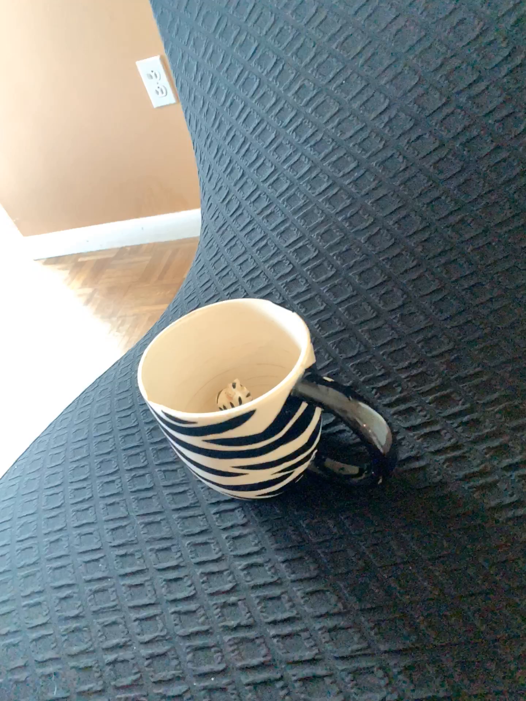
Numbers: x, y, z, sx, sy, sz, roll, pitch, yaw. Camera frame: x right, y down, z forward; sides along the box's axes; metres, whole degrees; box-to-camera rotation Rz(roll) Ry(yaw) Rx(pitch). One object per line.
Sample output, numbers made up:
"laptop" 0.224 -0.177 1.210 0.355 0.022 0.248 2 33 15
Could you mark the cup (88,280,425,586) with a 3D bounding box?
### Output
"cup" -0.003 0.034 0.288 0.141 0.089 0.080 19 55 39
